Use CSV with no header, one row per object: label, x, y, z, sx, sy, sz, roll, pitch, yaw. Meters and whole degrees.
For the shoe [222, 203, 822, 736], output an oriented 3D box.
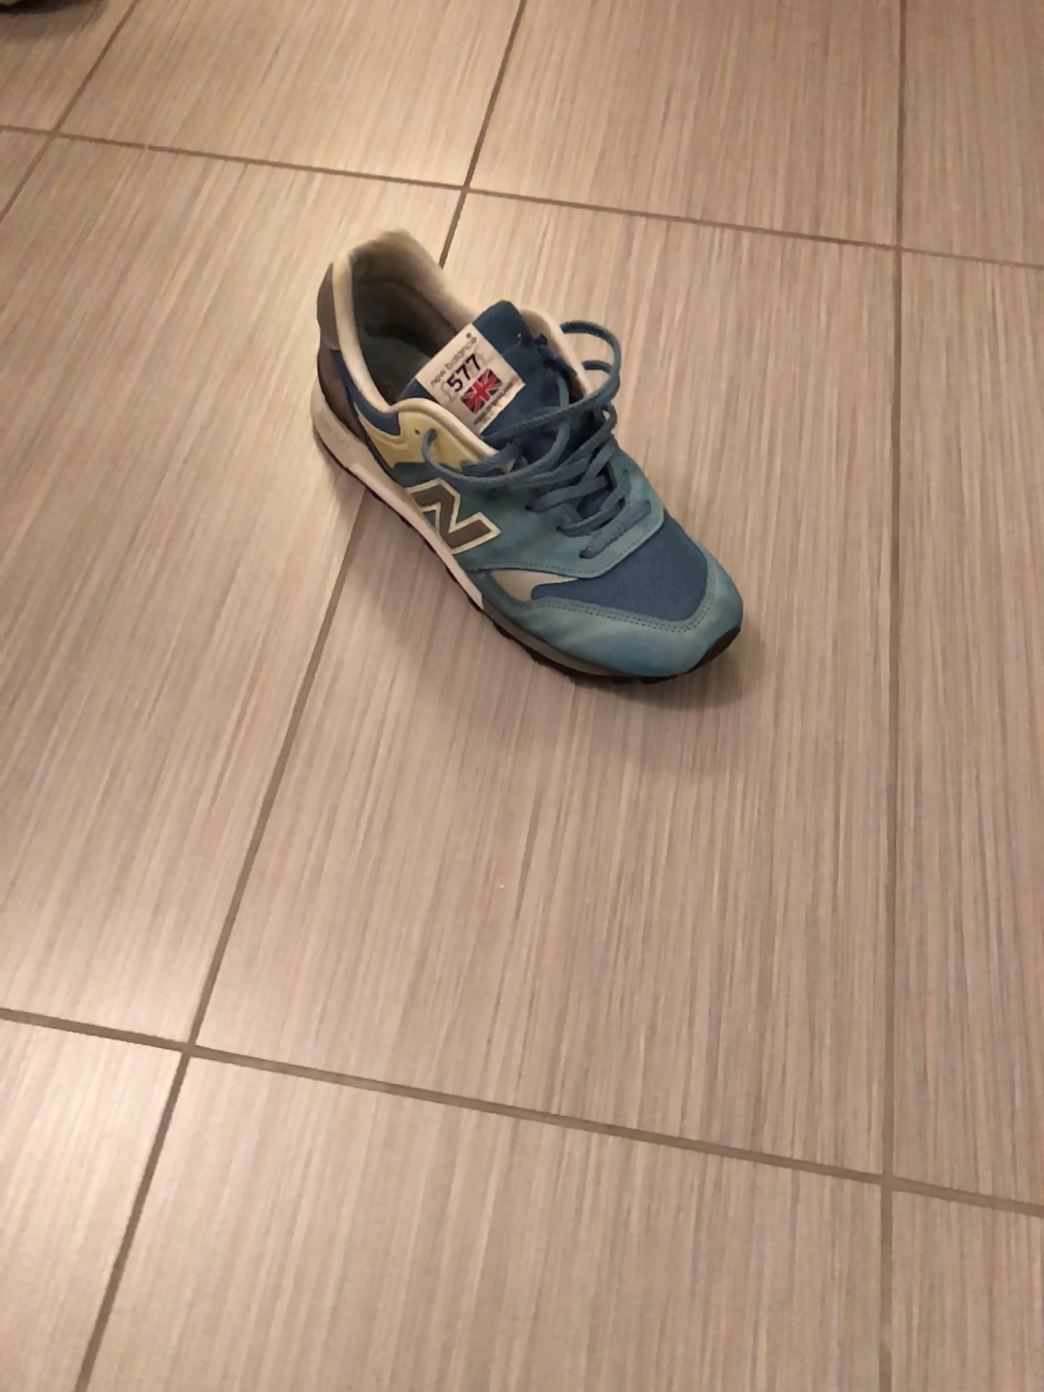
shoe,-0.008,-0.131,0.607,0.130,0.070,0.300,-39,67,-21
